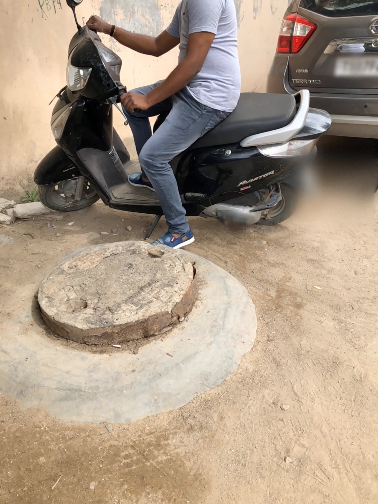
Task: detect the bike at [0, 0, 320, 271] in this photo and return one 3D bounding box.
[{"bbox_3d":[-0.213,-0.629,2.277,1.650,1.229,0.656,1,28,7],"label":"bike"}]
